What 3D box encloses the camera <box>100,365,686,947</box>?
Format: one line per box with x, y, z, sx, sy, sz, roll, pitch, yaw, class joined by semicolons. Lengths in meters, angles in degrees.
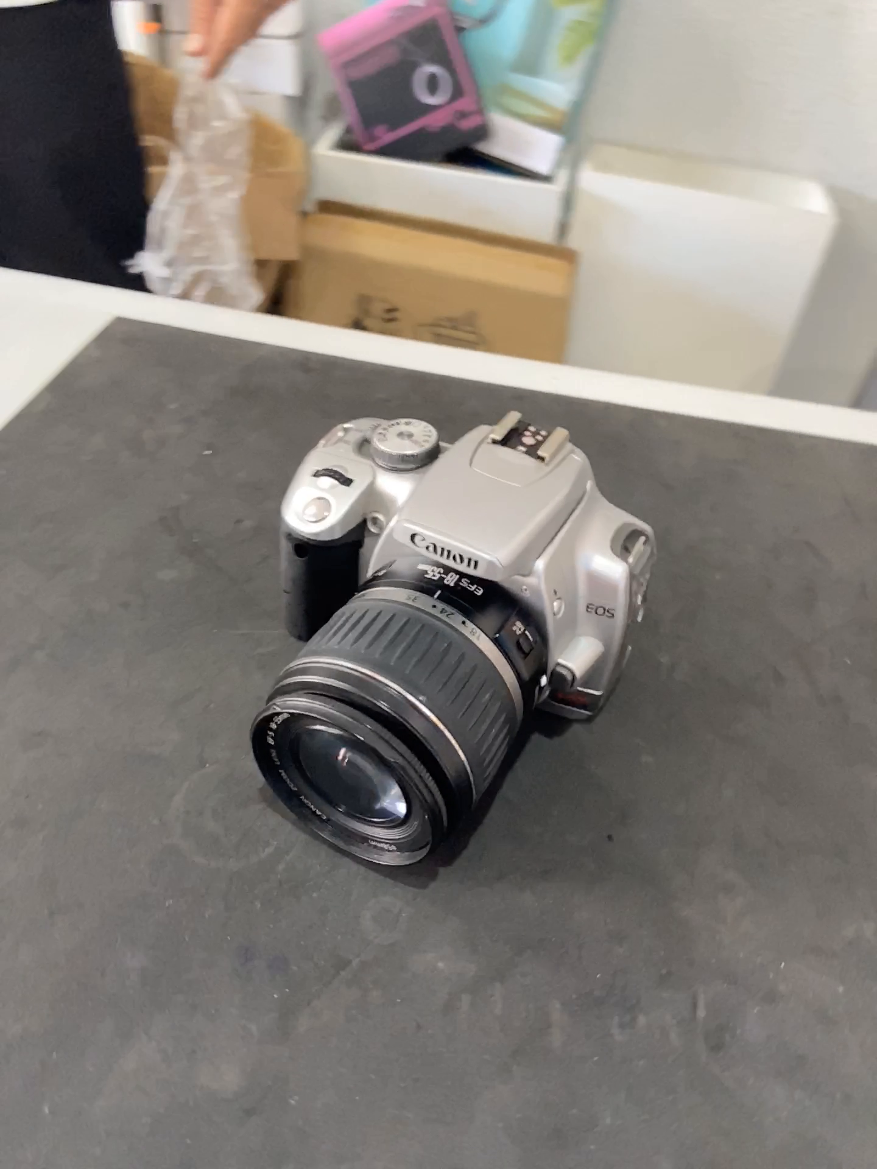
-0.006;0.010;0.291;0.120;0.080;0.141;20;43;16;camera
